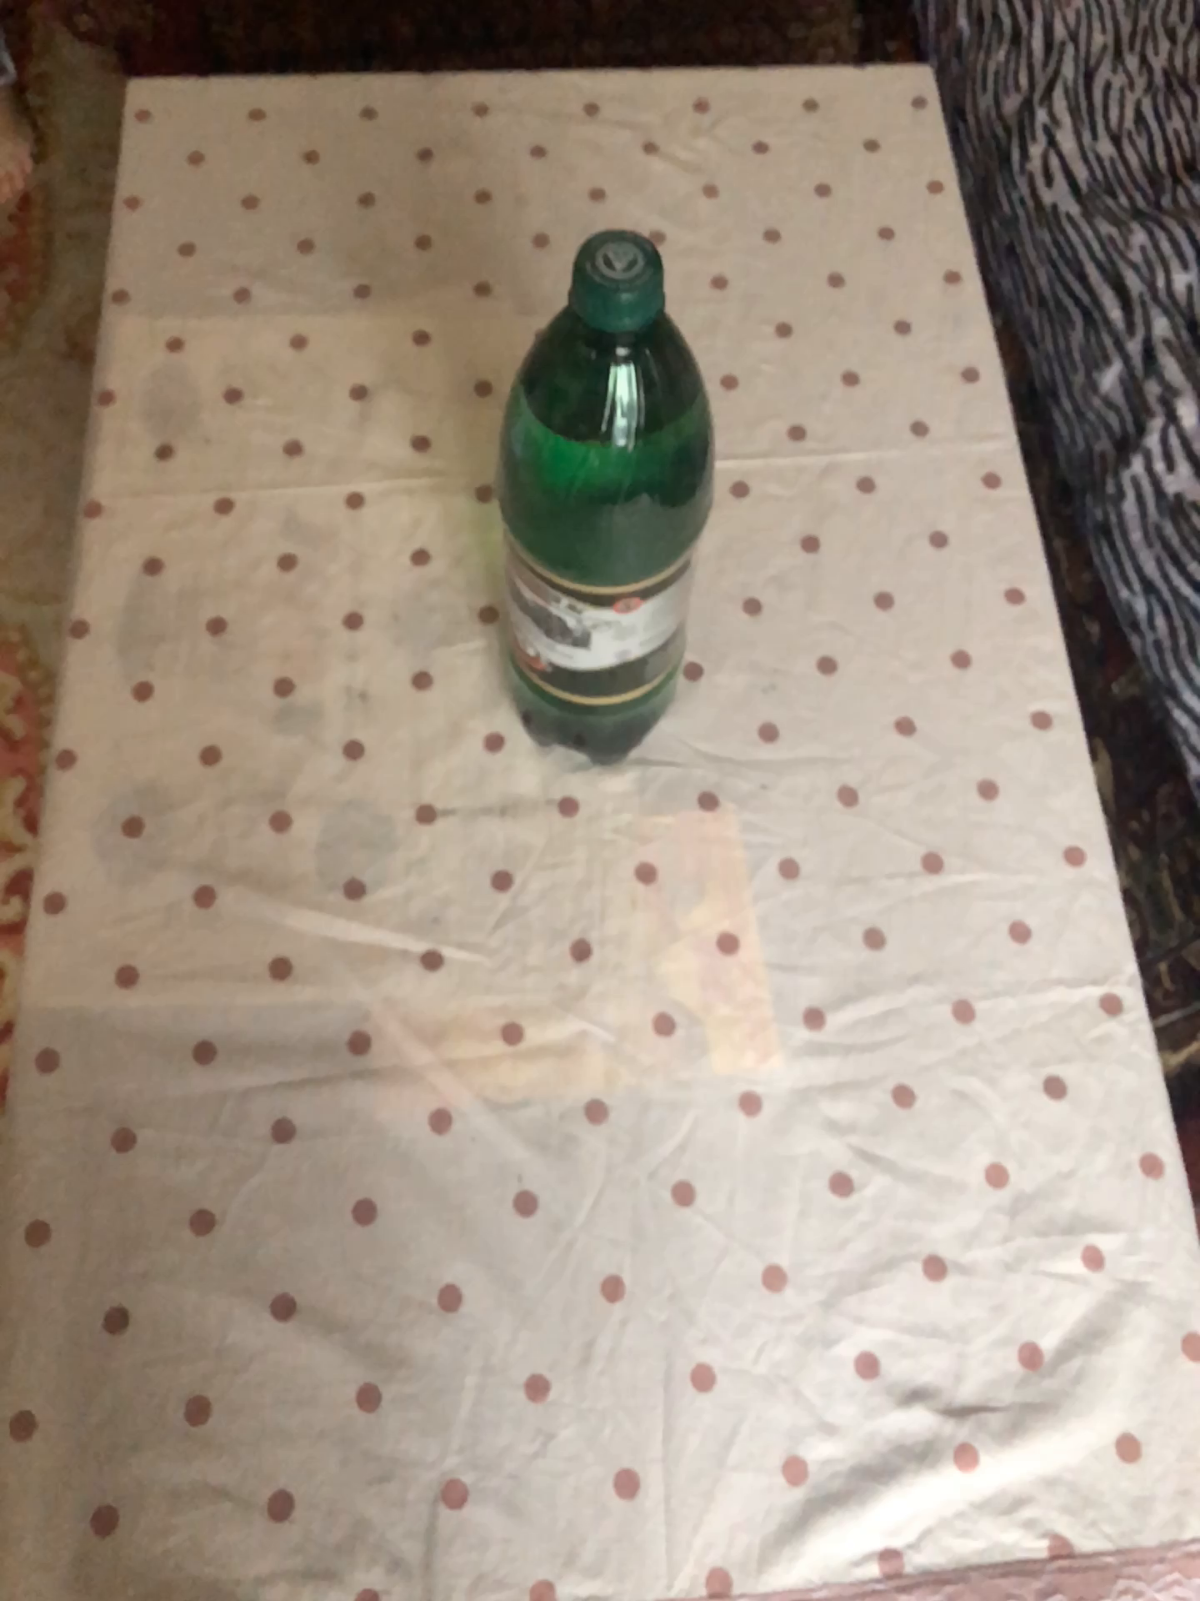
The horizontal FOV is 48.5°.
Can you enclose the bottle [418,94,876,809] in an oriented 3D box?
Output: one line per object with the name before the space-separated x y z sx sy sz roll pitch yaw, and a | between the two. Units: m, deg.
bottle | 0.008 -0.114 0.537 0.100 0.279 0.100 1 68 -3
